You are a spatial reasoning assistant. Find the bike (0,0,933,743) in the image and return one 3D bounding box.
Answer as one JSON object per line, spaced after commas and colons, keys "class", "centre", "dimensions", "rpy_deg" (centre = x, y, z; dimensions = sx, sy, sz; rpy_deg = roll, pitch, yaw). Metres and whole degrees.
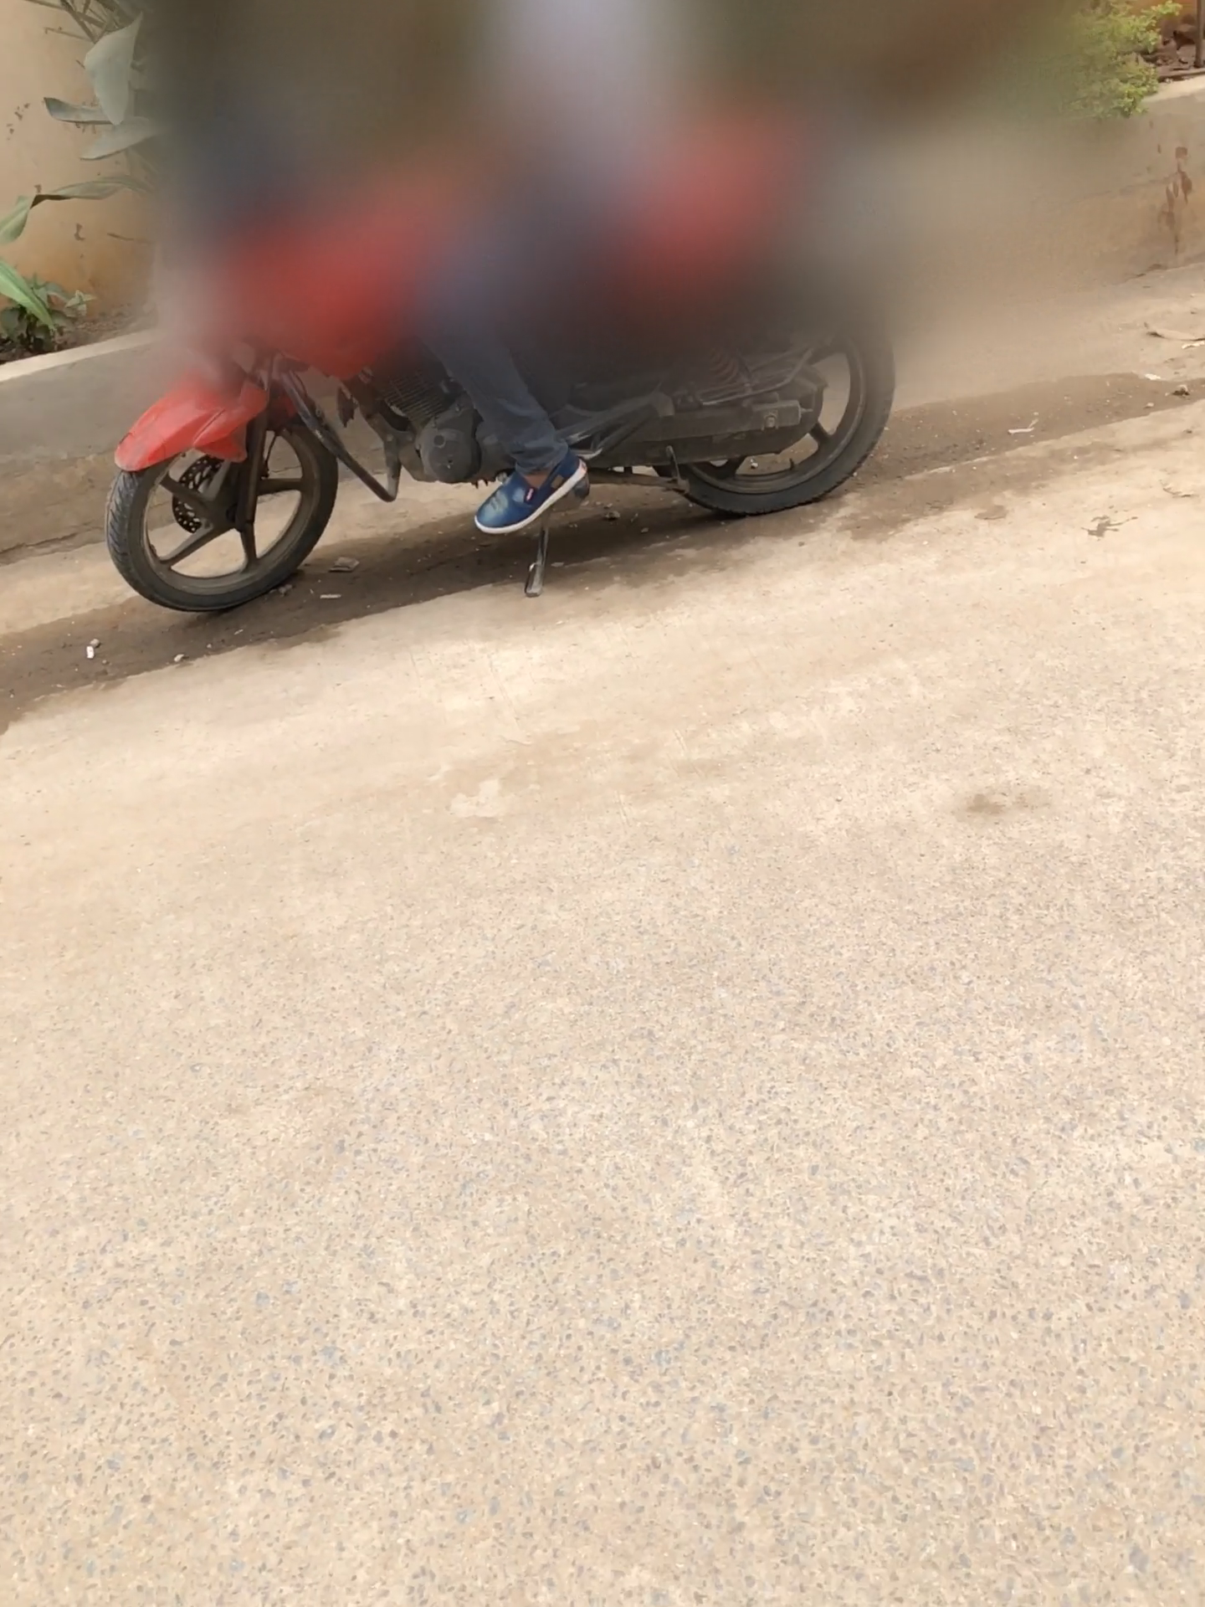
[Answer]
{"class": "bike", "centre": [-0.236, -1.006, 2.928], "dimensions": [1.788, 1.208, 0.693], "rpy_deg": [-12, 35, -2]}
